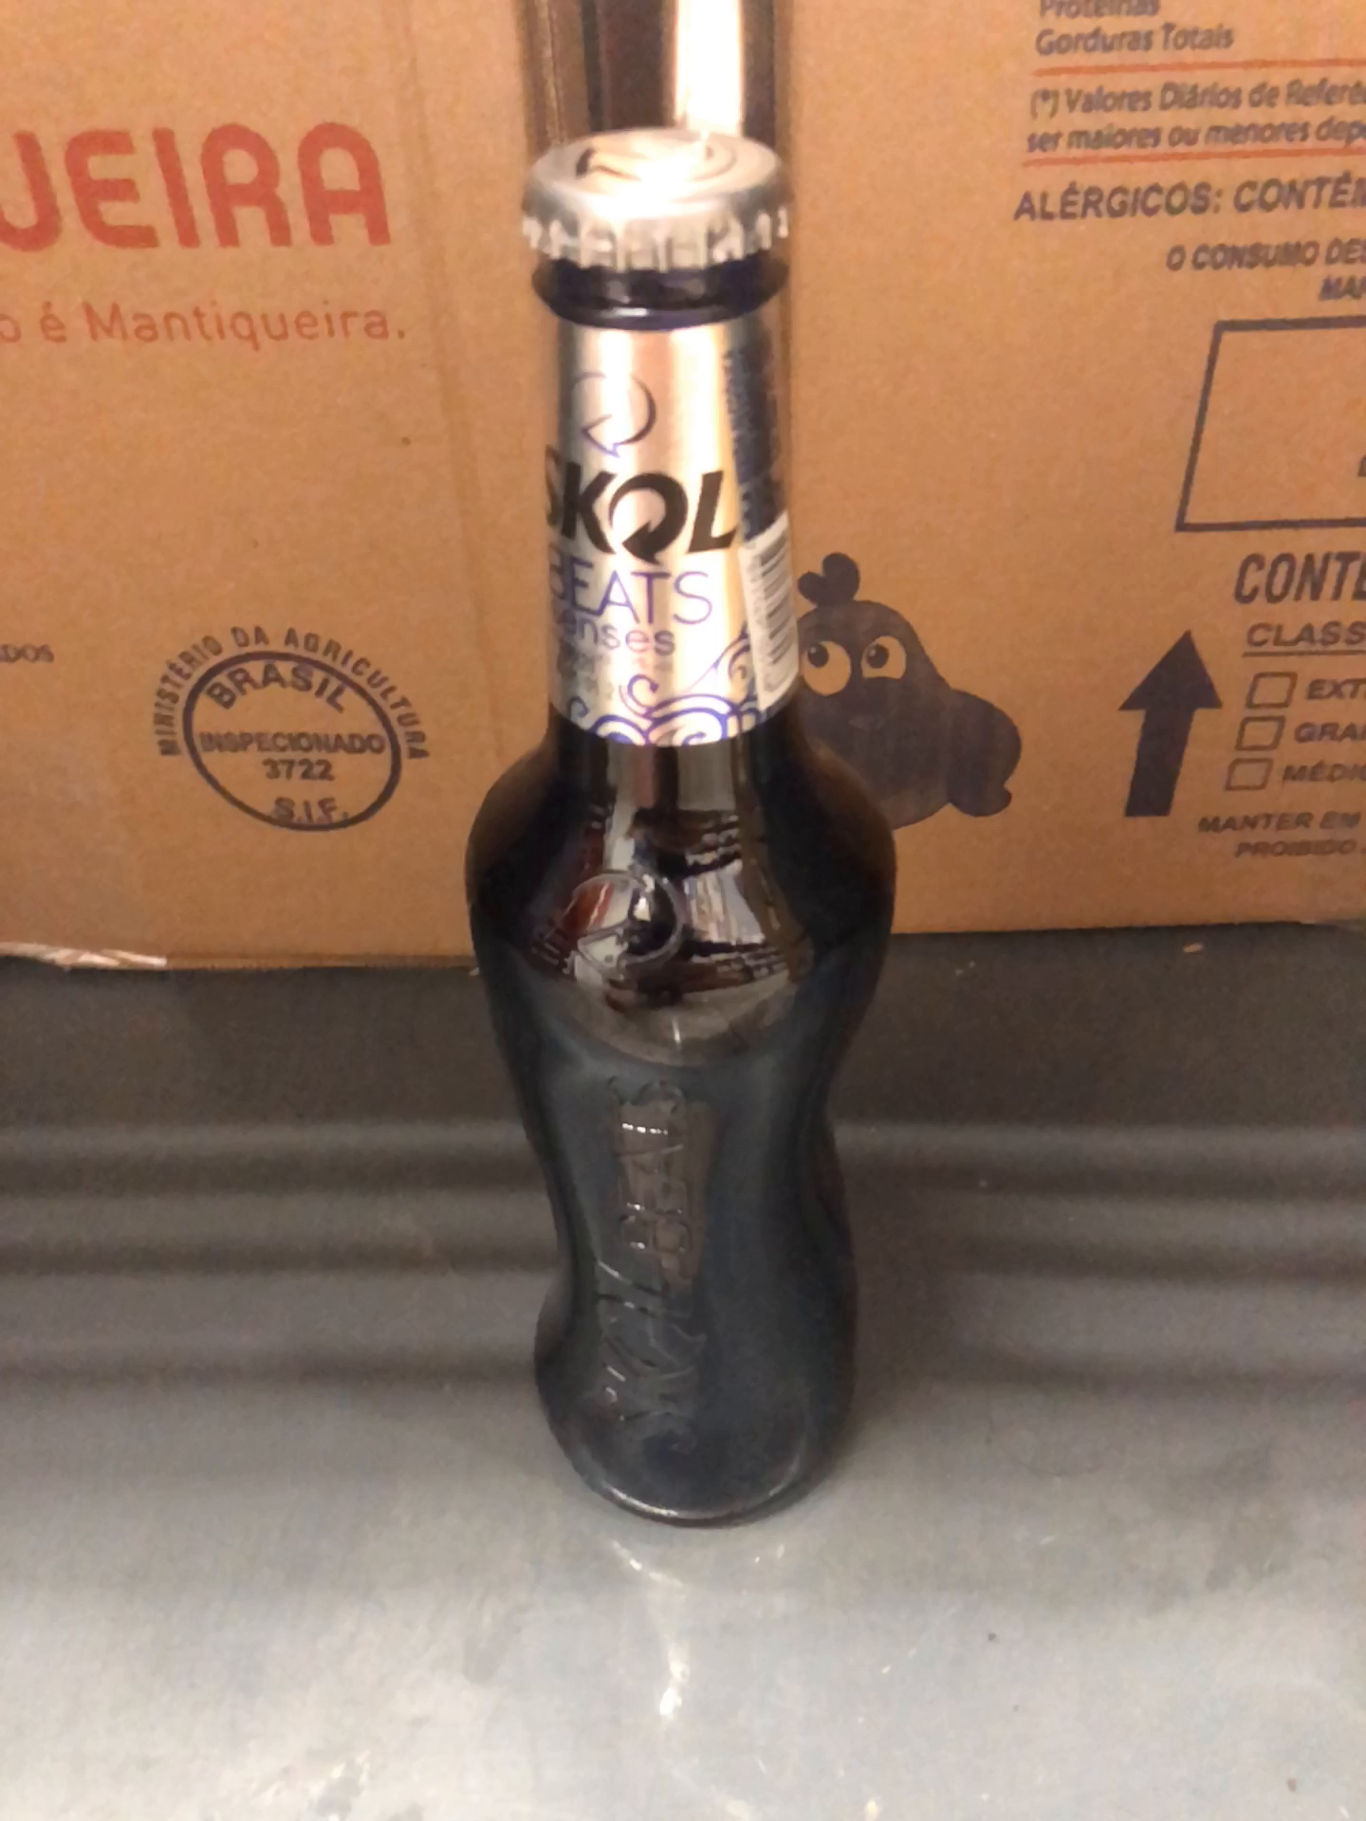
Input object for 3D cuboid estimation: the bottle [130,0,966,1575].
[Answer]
[{"bbox_3d":[-0.002,0.007,0.229,0.070,0.238,0.070,-2,41,2],"label":"bottle"}]
